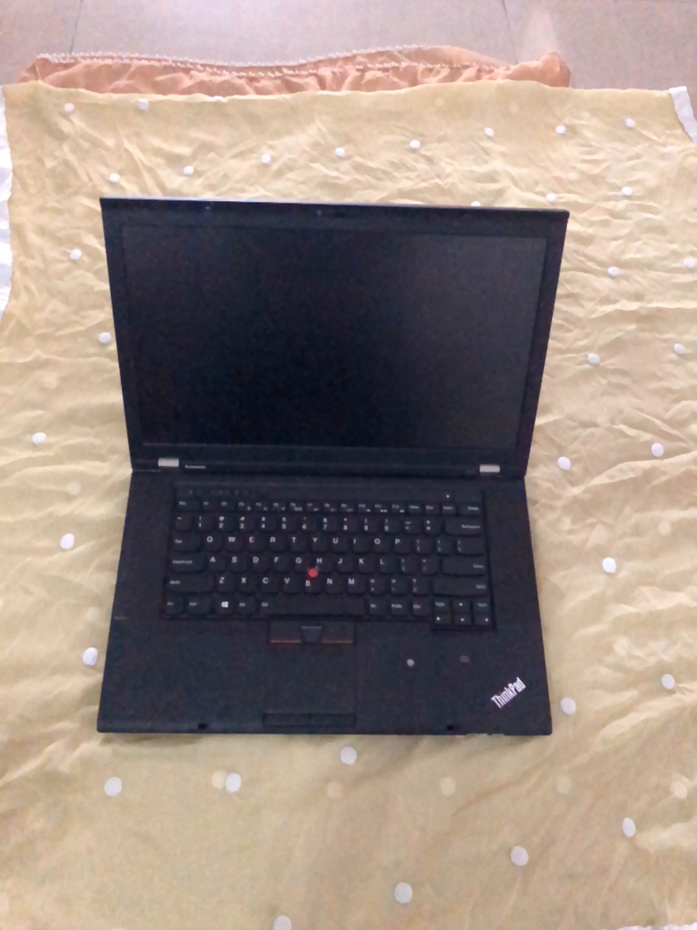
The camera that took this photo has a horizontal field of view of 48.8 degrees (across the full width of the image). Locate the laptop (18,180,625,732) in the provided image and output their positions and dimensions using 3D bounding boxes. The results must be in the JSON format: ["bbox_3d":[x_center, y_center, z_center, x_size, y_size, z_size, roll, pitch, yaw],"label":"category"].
[{"bbox_3d":[-0.016,0.000,0.619,0.363,0.191,0.381,1,66,-2],"label":"laptop"}]
